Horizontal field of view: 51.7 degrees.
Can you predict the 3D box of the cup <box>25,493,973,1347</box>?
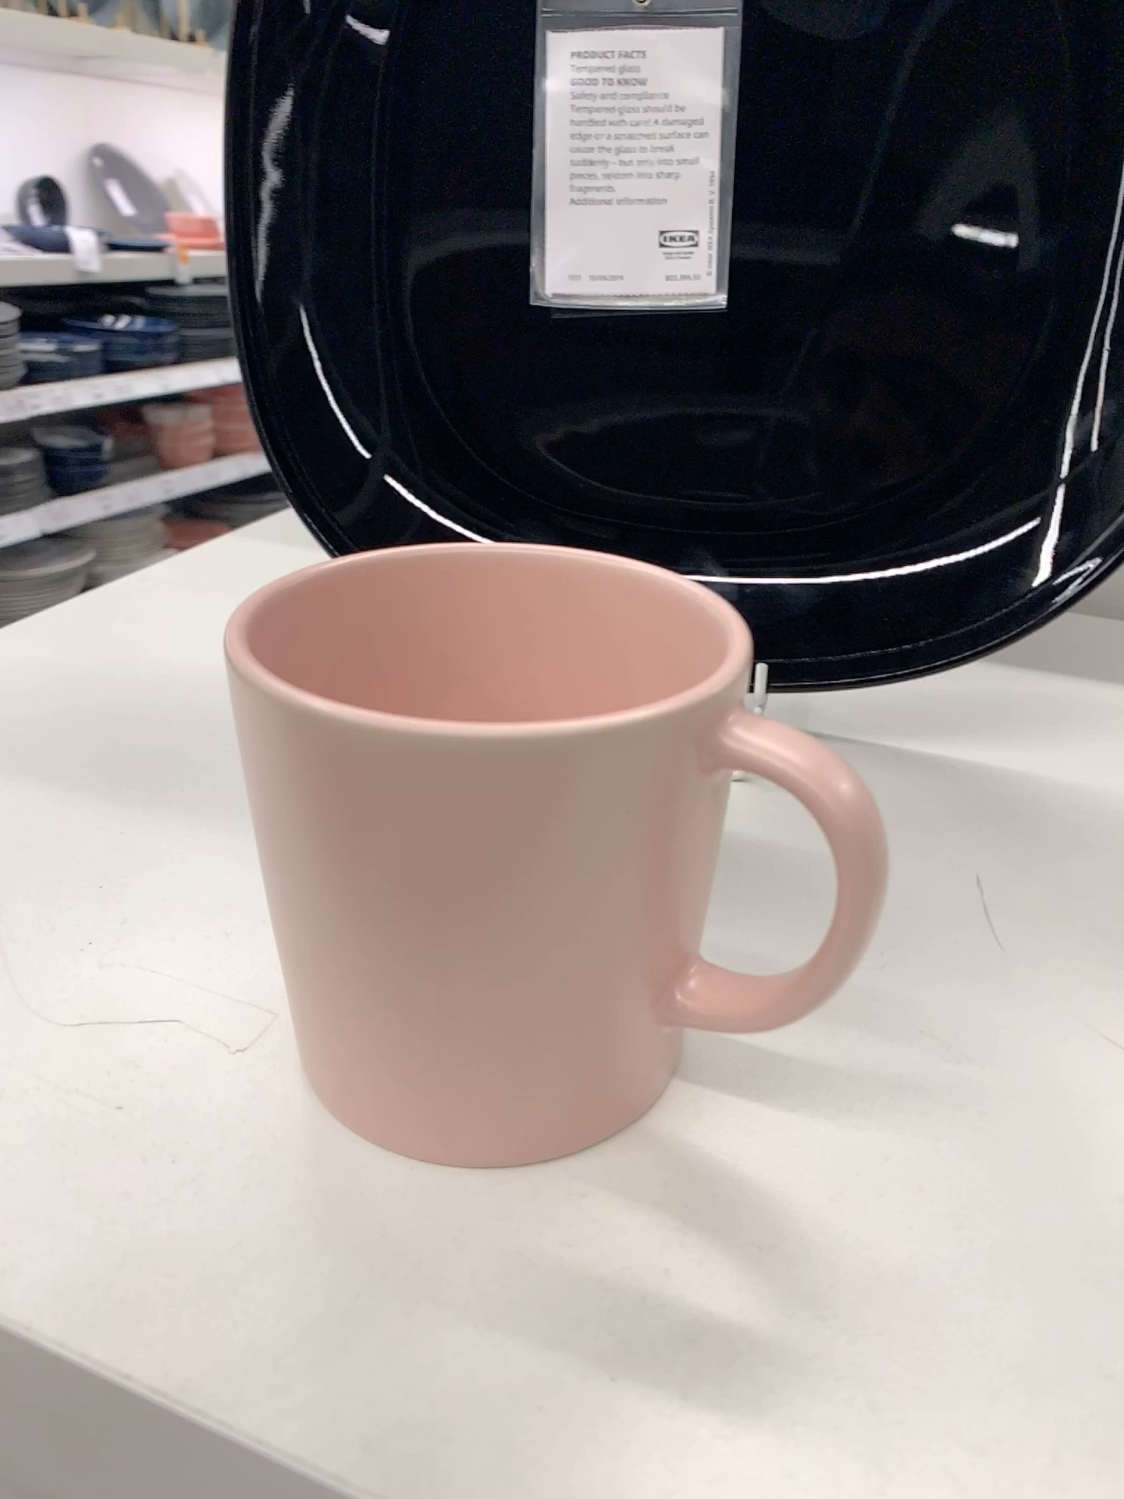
[{"bbox_3d":[-0.008,0.013,0.200,0.120,0.080,0.090,16,28,26],"label":"cup"}]
